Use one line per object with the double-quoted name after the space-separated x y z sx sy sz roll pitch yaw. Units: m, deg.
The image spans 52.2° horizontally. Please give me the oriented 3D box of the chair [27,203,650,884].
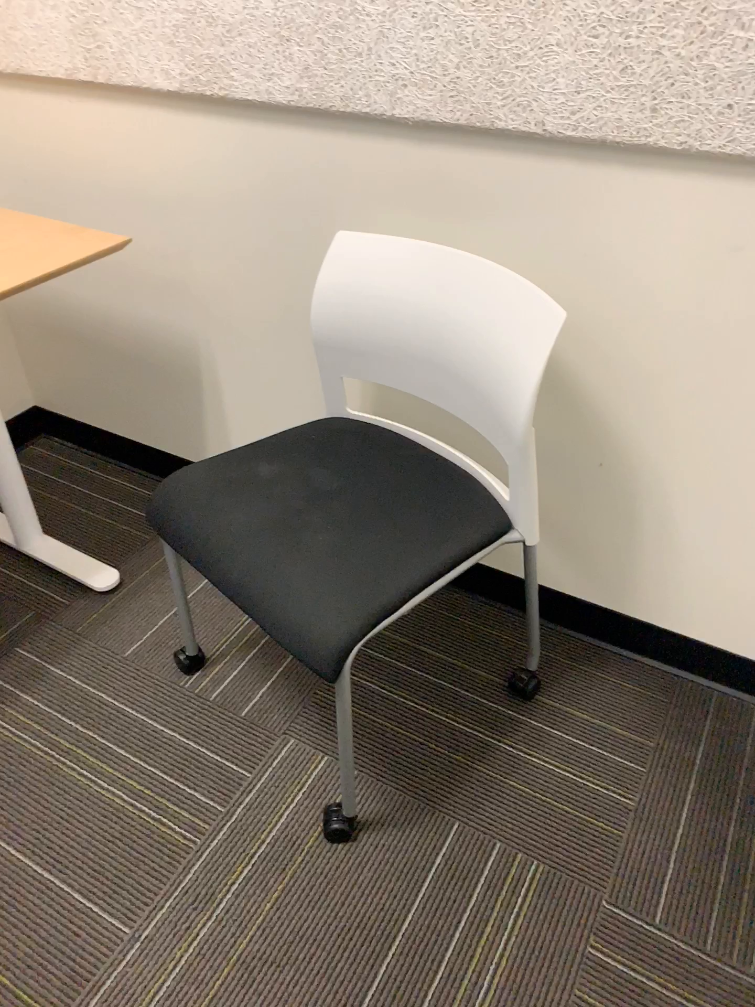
-0.051 0.017 1.320 0.623 0.775 0.621 30 47 34 "chair"
